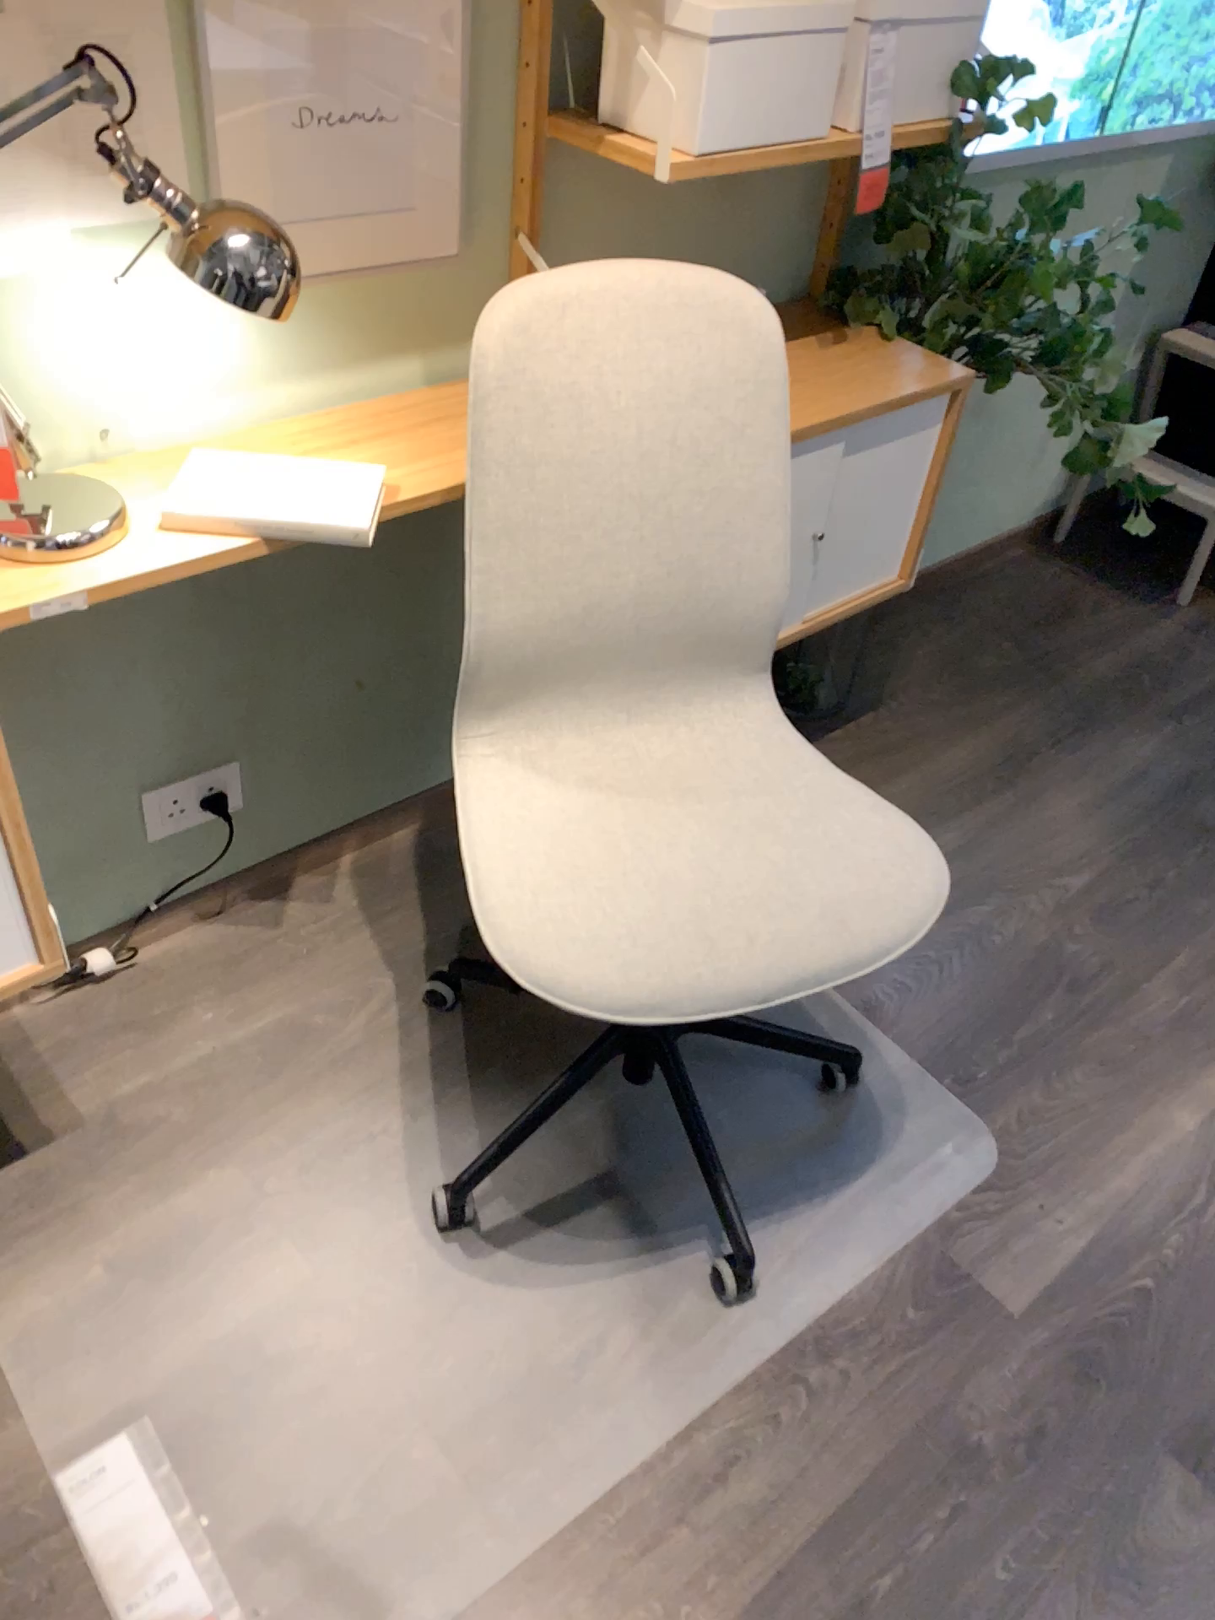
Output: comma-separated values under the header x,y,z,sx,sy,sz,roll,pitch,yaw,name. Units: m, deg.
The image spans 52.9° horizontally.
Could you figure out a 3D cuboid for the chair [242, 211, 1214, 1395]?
x,y,z,sx,sy,sz,roll,pitch,yaw,name
0.042,-0.014,1.356,0.671,1.016,0.672,-11,45,-22,chair
